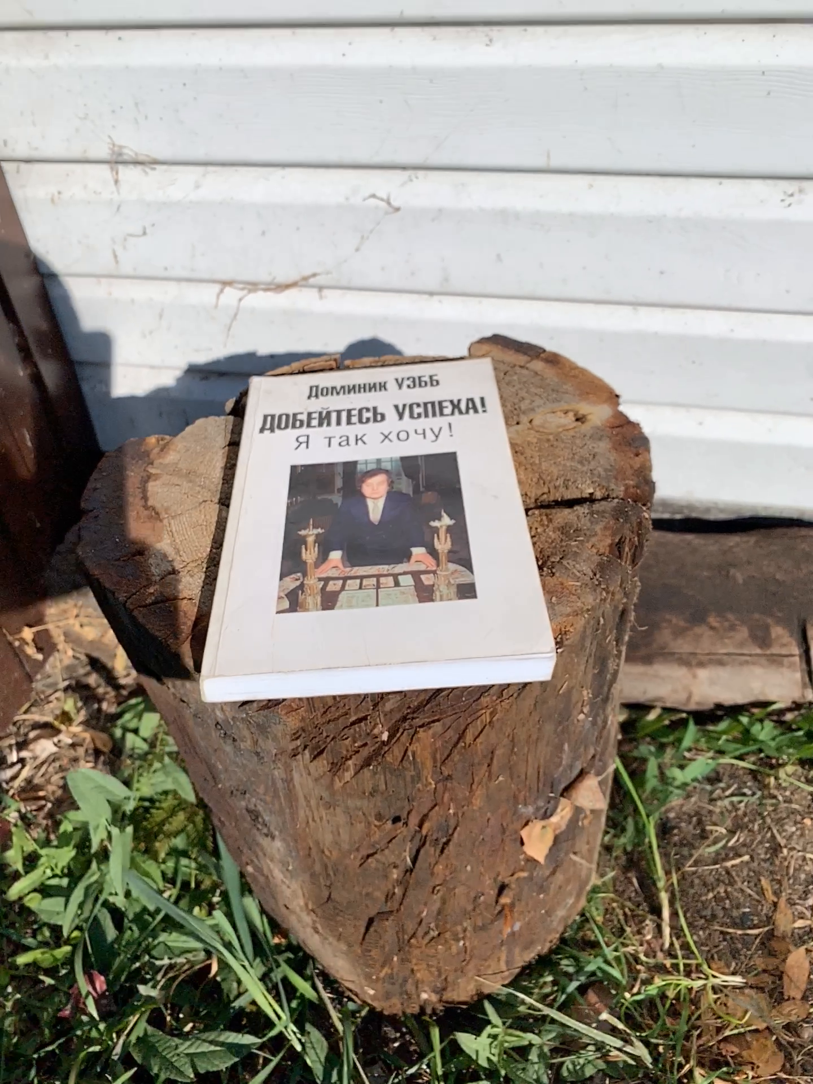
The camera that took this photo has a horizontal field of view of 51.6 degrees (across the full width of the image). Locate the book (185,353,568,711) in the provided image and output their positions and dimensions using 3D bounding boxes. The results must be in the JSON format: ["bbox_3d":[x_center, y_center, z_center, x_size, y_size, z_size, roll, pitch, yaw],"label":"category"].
[{"bbox_3d":[-0.015,-0.020,0.390,0.139,0.020,0.211,-4,43,1],"label":"book"}]
